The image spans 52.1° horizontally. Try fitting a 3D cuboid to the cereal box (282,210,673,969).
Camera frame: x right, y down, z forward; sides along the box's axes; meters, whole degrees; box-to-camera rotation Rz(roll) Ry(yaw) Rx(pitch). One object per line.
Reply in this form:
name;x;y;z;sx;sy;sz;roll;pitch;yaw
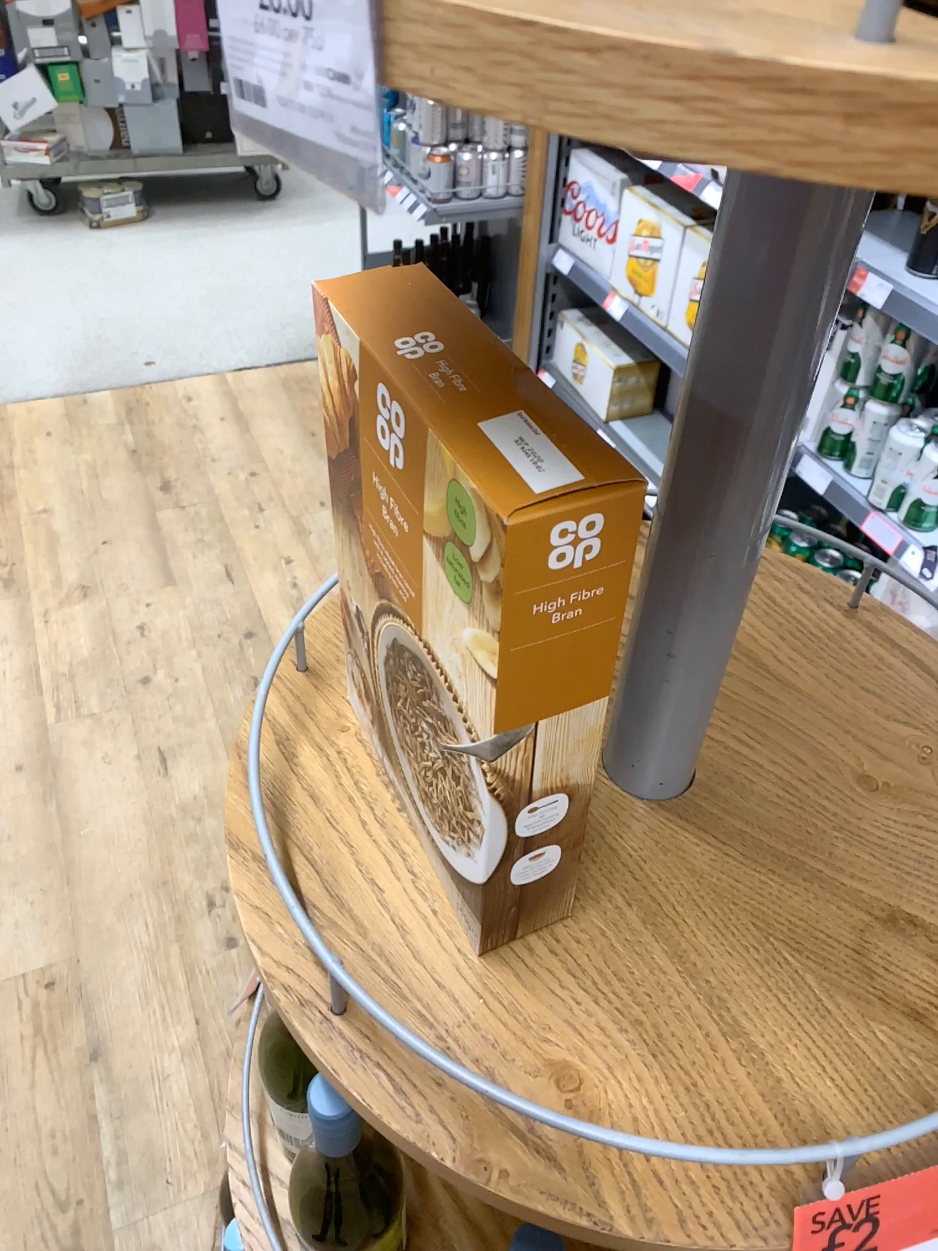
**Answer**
cereal box;-0.013;-0.010;0.440;0.060;0.277;0.202;-17;46;-20
